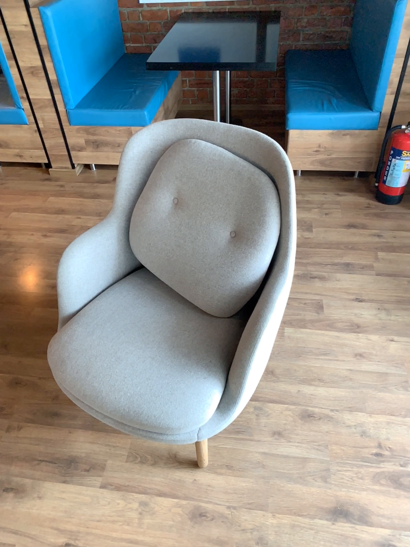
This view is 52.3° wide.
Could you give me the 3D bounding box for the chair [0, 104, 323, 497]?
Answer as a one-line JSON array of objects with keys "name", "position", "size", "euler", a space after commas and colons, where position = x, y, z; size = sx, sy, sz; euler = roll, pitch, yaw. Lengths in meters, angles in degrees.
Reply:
[{"name": "chair", "position": [-0.131, 0.046, 1.357], "size": [0.751, 0.833, 0.745], "euler": [14, 45, 19]}]
